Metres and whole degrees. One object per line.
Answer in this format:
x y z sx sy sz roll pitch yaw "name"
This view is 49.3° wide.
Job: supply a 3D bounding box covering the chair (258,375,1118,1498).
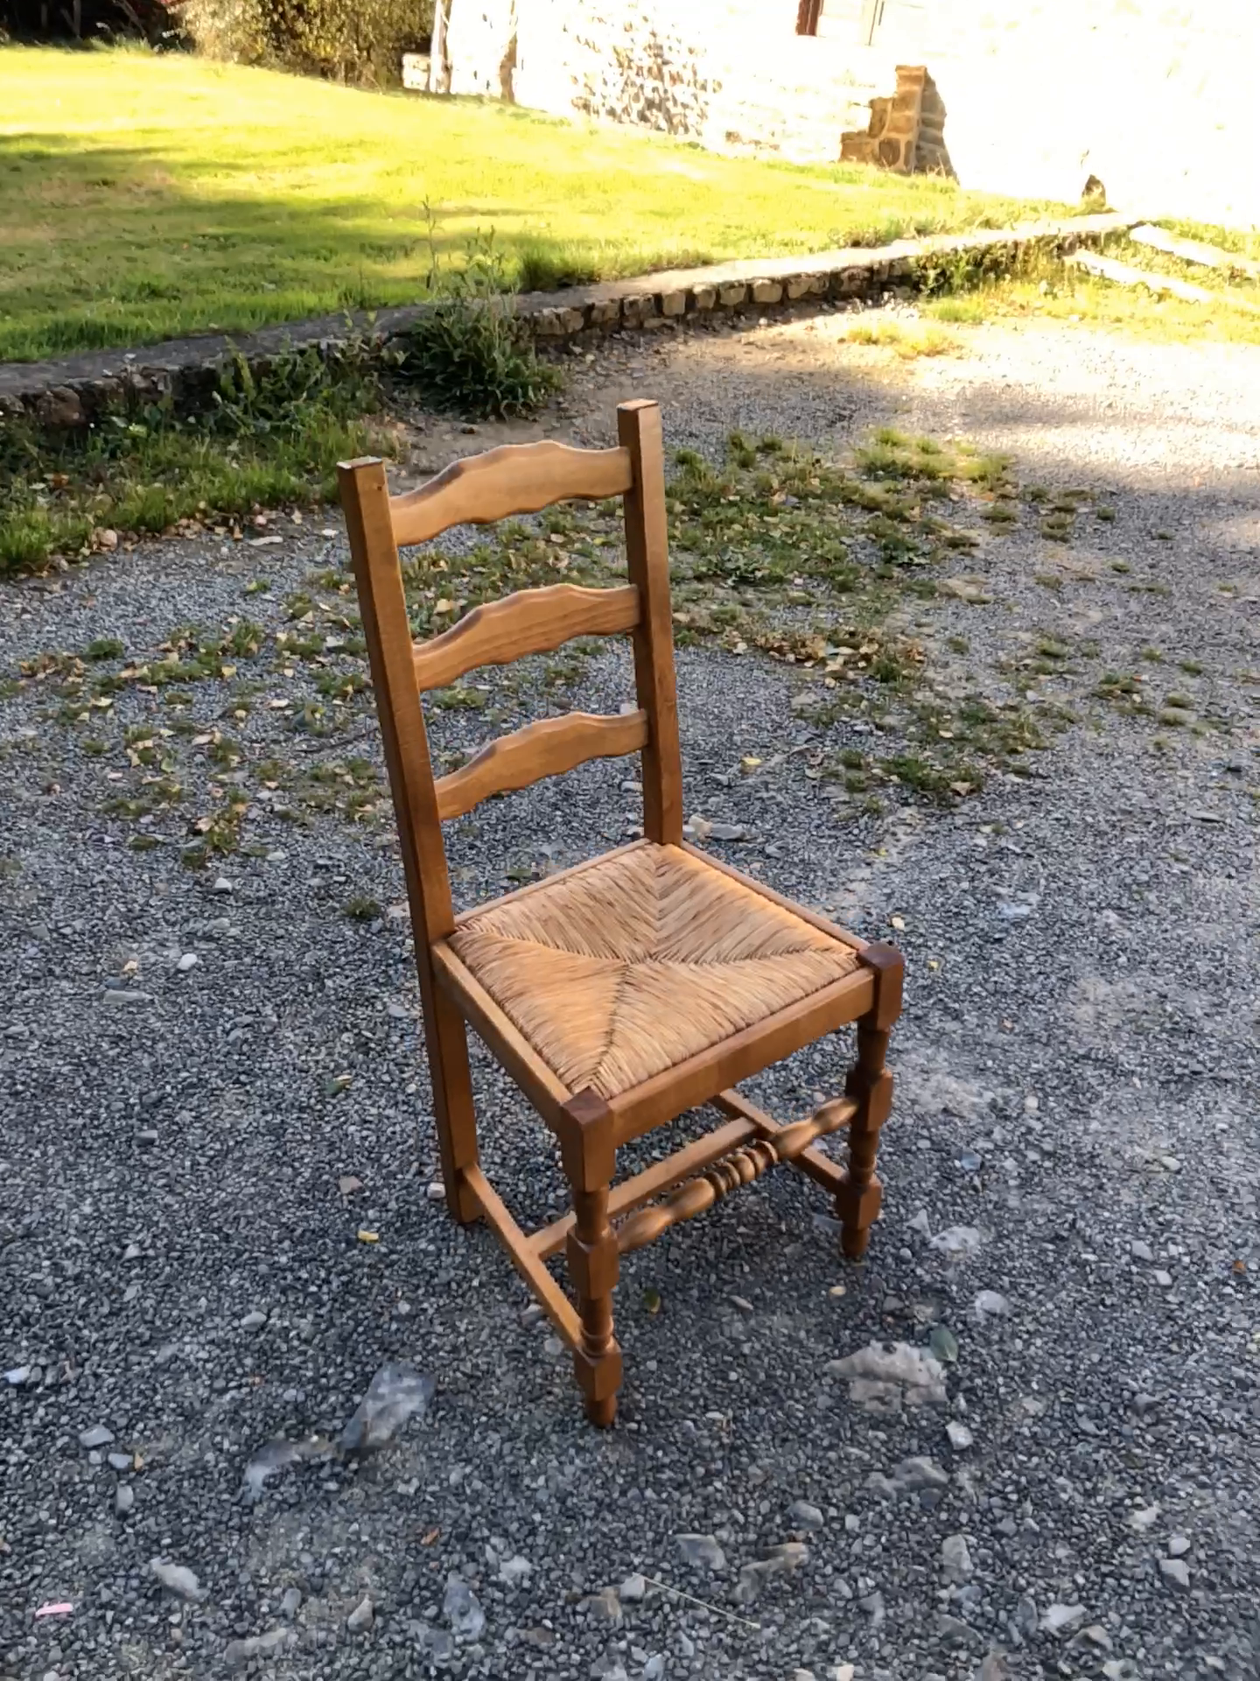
0.038 0.065 1.414 0.532 0.884 0.521 -22 38 -32 "chair"
